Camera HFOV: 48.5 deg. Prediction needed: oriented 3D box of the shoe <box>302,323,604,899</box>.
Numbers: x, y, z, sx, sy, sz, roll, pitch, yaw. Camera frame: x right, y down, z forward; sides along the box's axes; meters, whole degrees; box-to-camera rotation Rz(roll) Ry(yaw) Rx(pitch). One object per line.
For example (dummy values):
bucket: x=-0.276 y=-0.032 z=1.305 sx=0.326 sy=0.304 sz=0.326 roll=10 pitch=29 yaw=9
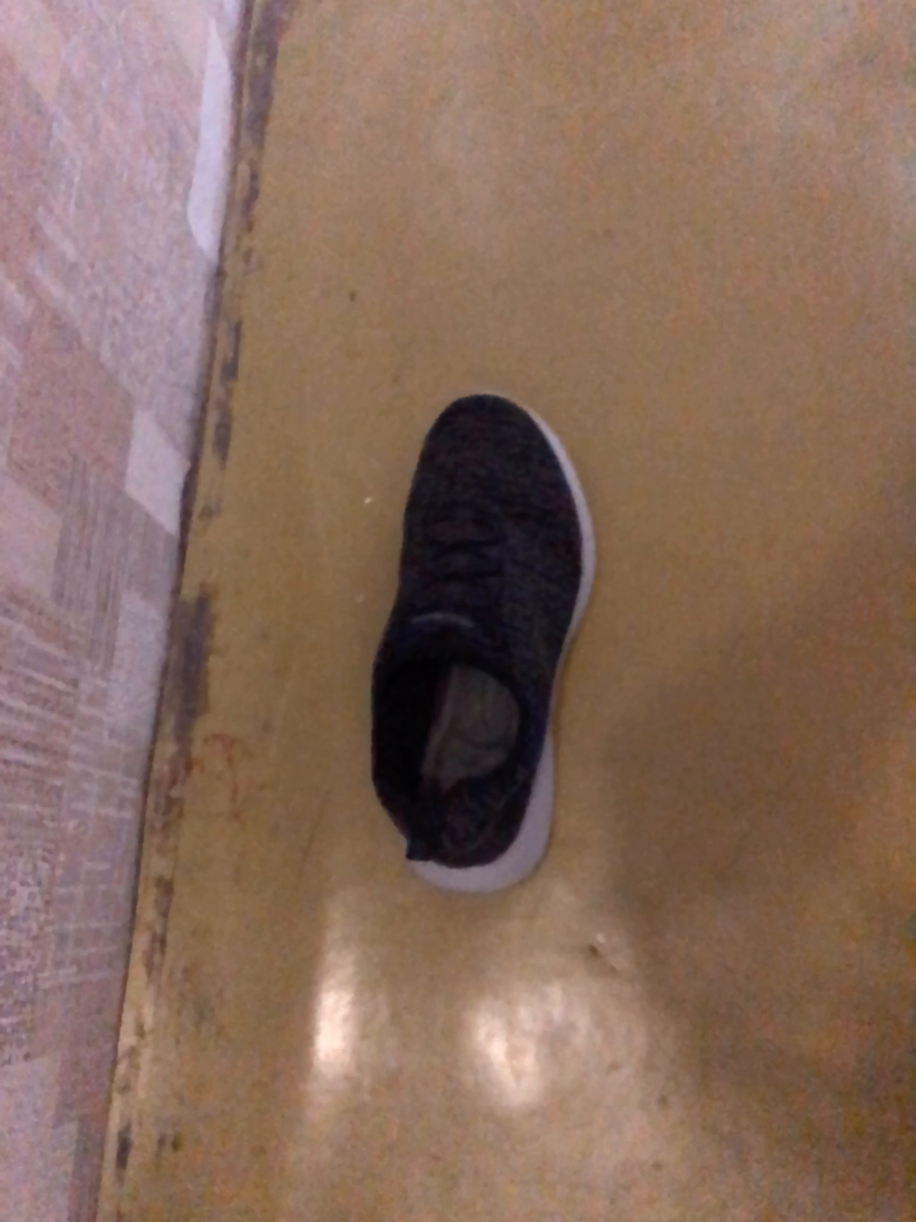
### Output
shoe: x=0.010 y=0.001 z=0.616 sx=0.130 sy=0.120 sz=0.320 roll=4 pitch=74 yaw=10
